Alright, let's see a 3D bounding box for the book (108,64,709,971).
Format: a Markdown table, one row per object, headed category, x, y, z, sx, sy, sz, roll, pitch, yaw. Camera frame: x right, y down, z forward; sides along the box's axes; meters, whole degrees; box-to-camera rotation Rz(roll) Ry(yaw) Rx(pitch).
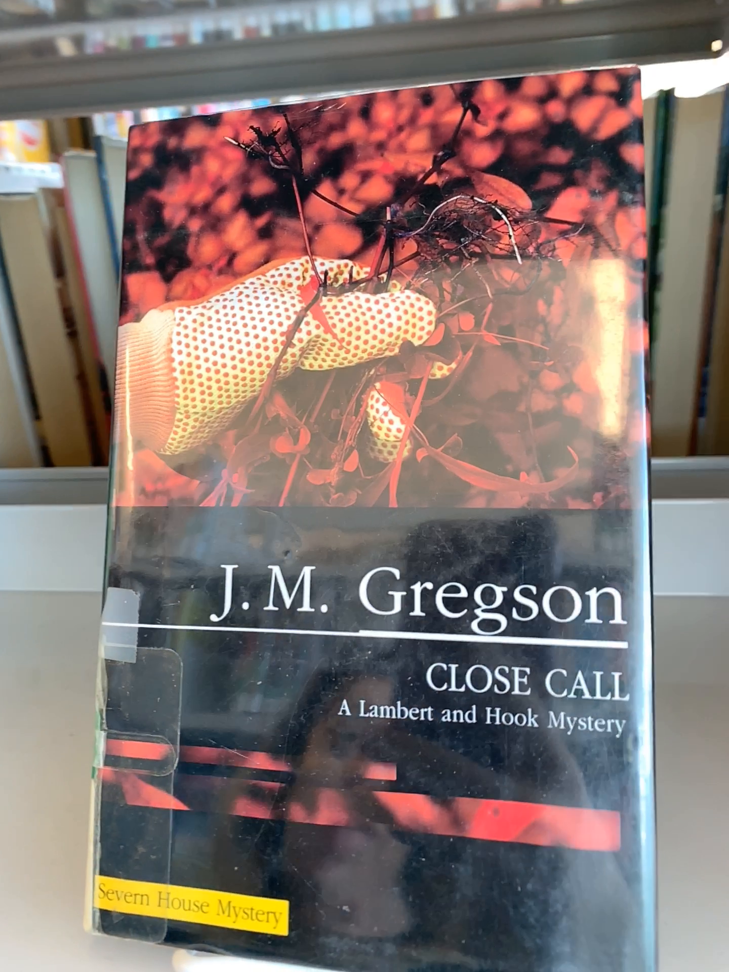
| category | x | y | z | sx | sy | sz | roll | pitch | yaw |
| --- | --- | --- | --- | --- | --- | --- | --- | --- | --- |
| book | 0.009 | 0.007 | 0.198 | 0.140 | 0.208 | 0.030 | 0 | -5 | 13 |
